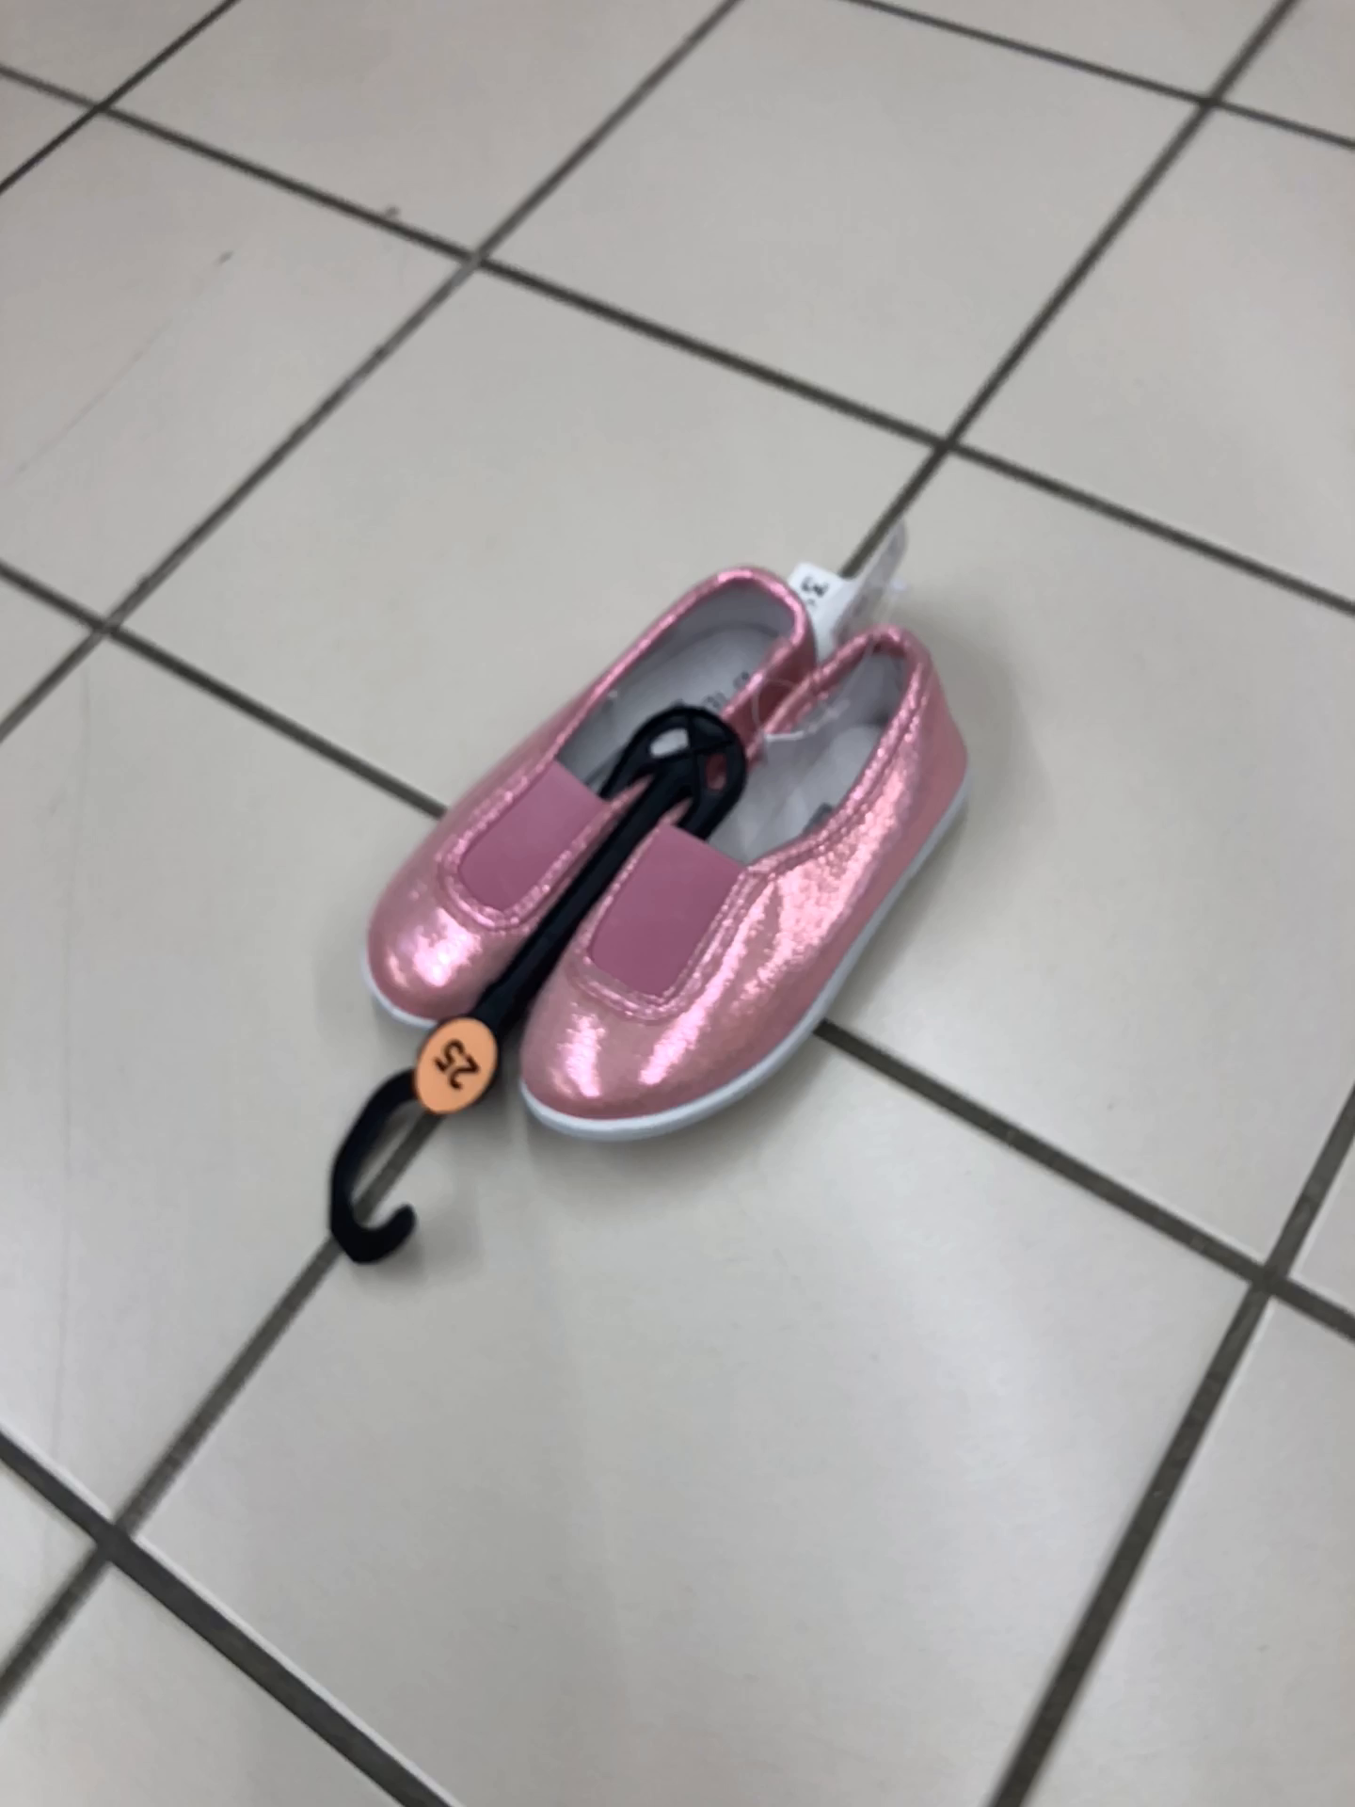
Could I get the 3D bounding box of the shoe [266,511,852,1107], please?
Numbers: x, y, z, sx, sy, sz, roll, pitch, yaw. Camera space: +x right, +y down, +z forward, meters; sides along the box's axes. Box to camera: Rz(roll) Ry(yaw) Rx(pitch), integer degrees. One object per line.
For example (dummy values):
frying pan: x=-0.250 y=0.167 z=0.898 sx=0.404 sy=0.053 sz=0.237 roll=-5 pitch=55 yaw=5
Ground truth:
shoe: x=-0.026 y=-0.029 z=0.417 sx=0.059 sy=0.051 sz=0.161 roll=37 pitch=71 yaw=23

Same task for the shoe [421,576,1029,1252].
shoe: x=0.017 y=-0.001 z=0.397 sx=0.069 sy=0.050 sz=0.164 roll=31 pitch=69 yaw=20
